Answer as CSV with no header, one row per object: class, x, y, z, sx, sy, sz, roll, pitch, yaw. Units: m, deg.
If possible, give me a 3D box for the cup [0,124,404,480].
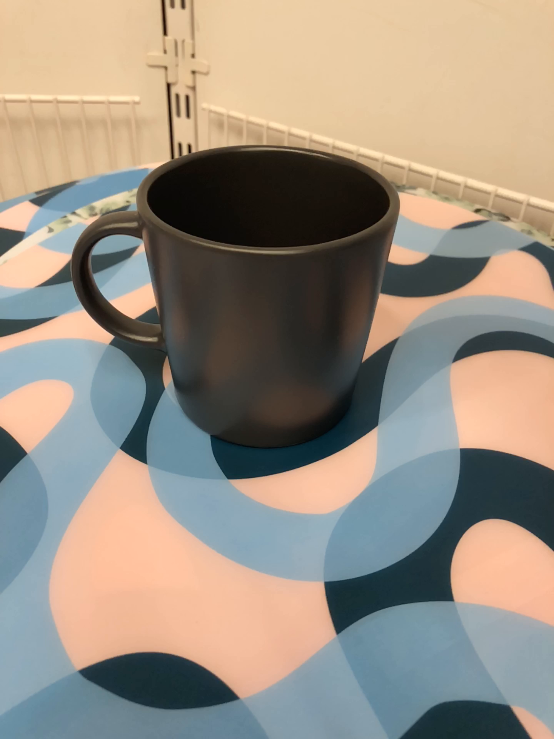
cup,-0.019,-0.031,0.239,0.120,0.090,0.090,8,37,6
